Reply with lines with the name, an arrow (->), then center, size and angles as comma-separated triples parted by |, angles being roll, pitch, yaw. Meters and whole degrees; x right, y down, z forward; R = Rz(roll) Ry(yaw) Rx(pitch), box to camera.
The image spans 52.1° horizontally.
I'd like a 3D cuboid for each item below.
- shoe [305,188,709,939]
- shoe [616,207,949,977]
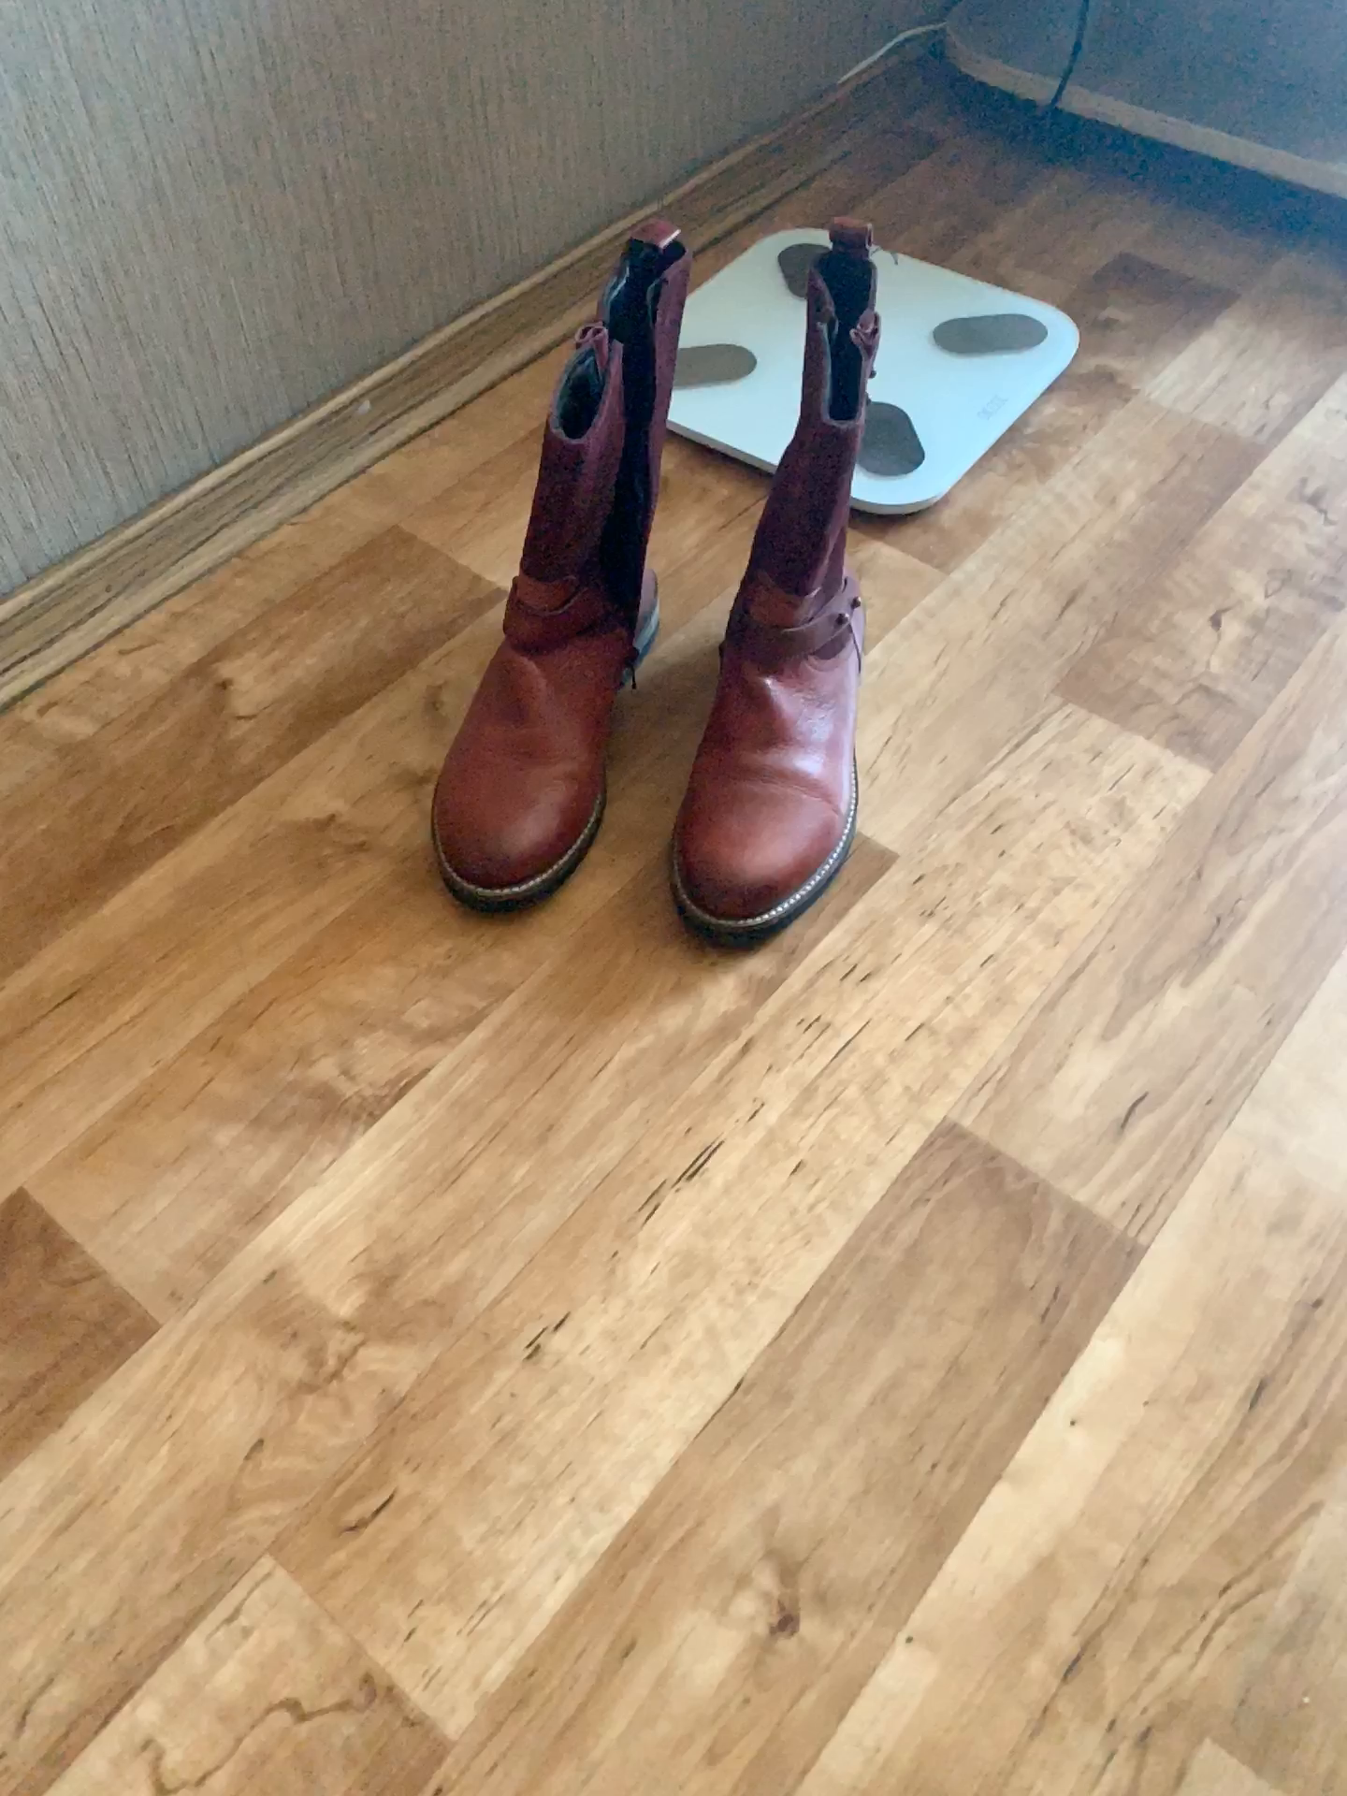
shoe -> -0.058, -0.161, 0.680 | 0.100, 0.249, 0.251 | 10, 53, 9
shoe -> 0.055, -0.140, 0.645 | 0.090, 0.239, 0.251 | 10, 53, 9
